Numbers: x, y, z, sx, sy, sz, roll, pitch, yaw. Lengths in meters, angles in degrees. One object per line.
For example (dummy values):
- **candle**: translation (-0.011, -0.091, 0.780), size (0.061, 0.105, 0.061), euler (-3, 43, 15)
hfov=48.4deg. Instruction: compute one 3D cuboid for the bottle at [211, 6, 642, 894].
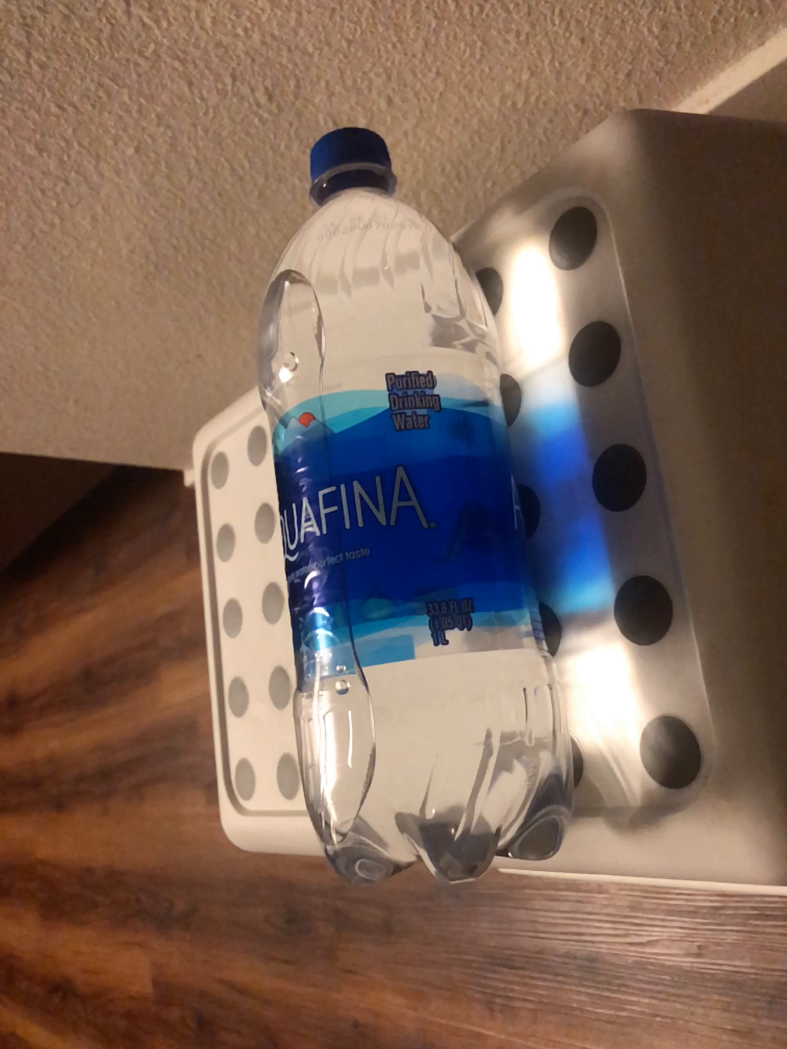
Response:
- **bottle**: translation (0.001, -0.021, 0.292), size (0.091, 0.080, 0.250), euler (-21, 70, 50)
